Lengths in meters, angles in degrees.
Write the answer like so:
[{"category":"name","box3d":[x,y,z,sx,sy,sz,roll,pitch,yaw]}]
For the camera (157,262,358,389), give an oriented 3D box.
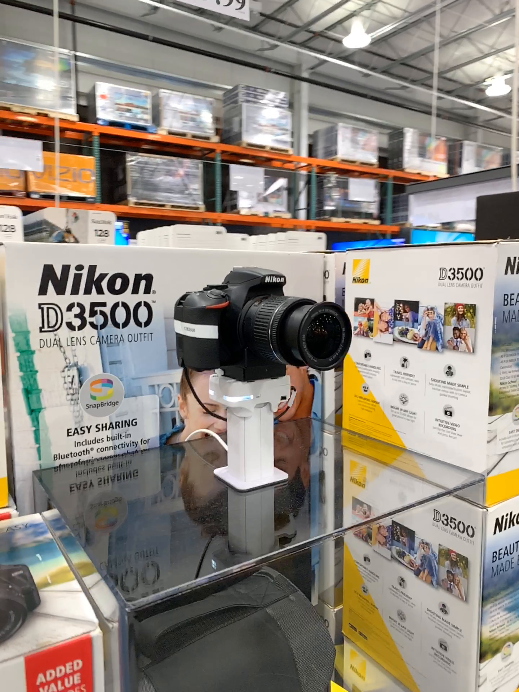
[{"category":"camera","box3d":[-0.008,-0.029,0.516,0.130,0.100,0.150,-4,9,-34]}]
